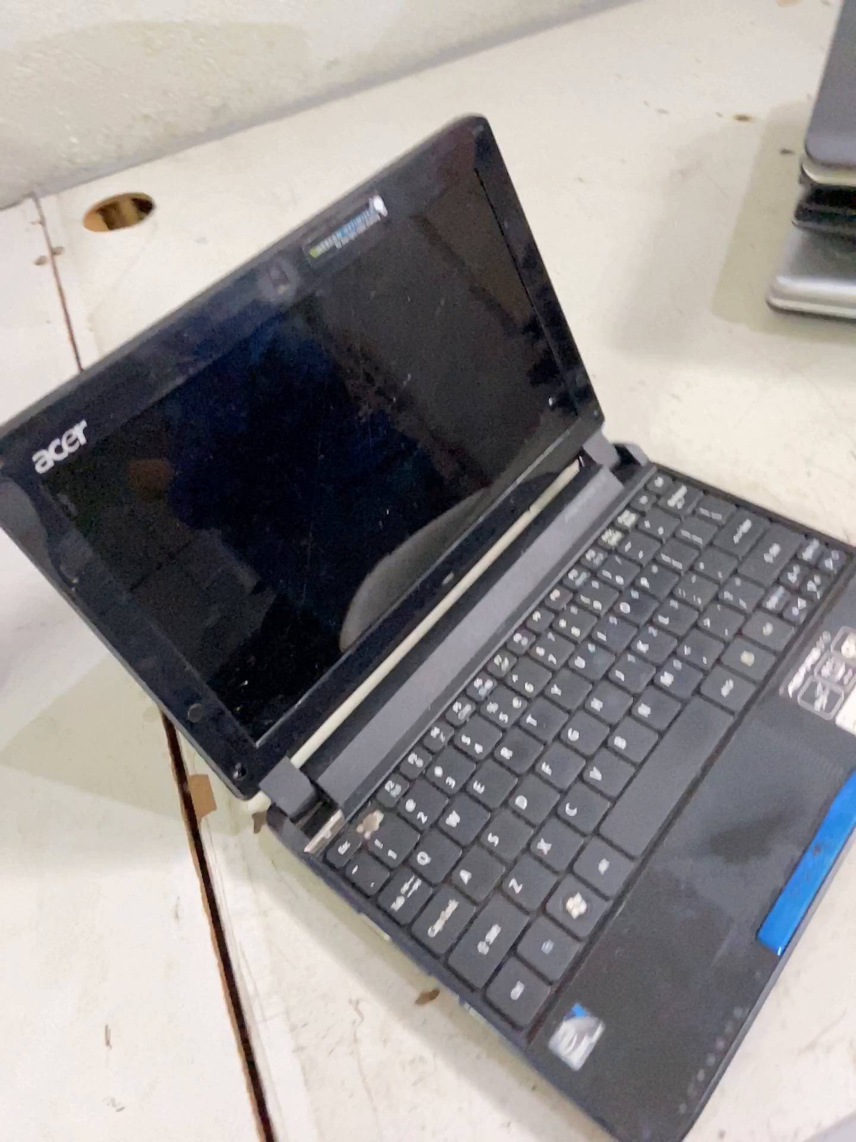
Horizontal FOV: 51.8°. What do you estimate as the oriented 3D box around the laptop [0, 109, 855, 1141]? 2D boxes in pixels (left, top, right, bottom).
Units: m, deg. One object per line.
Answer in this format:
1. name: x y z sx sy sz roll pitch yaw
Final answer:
1. laptop: 0.042 -0.011 0.318 0.260 0.144 0.253 31 62 28
